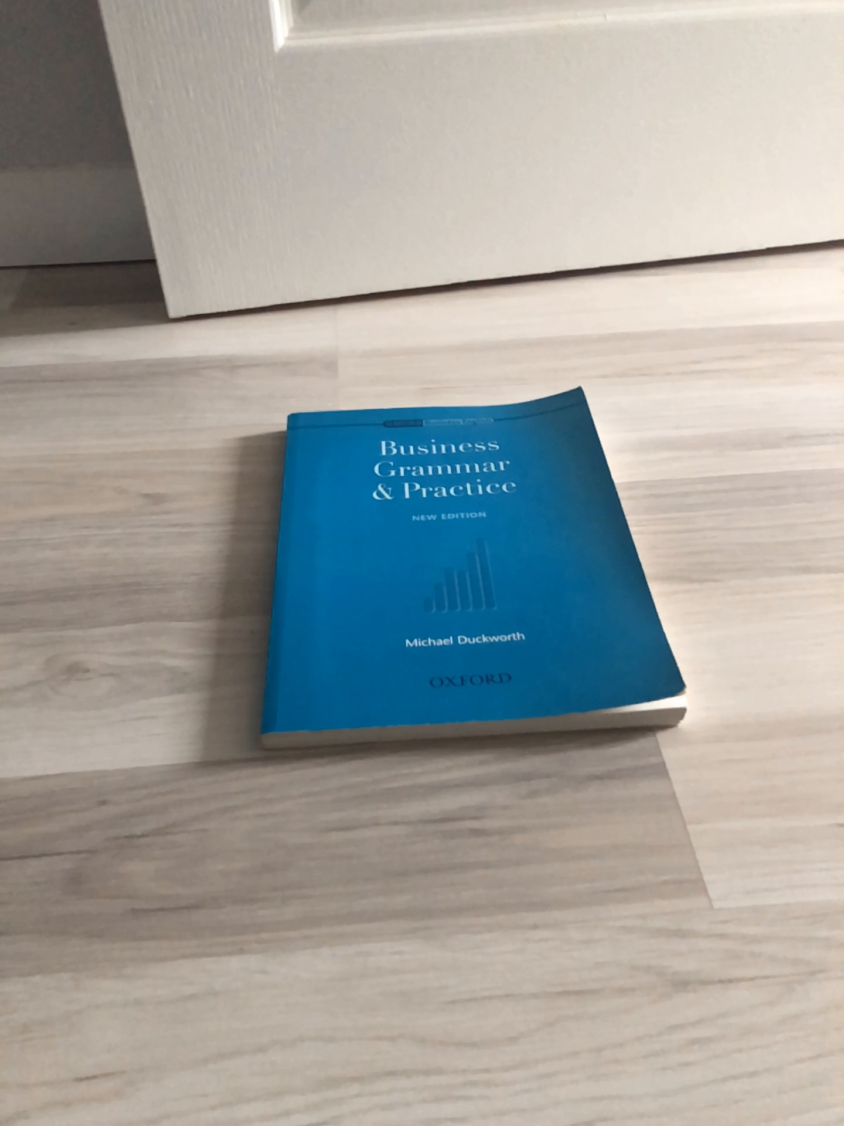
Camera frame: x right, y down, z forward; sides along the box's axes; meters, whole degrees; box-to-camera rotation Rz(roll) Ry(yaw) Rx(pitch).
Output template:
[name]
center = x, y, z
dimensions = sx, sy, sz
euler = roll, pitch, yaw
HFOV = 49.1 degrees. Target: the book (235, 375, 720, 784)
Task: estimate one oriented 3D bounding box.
[book]
center = 0.019, -0.012, 0.561
dimensions = 0.230, 0.040, 0.302
euler = -3, 42, -2
